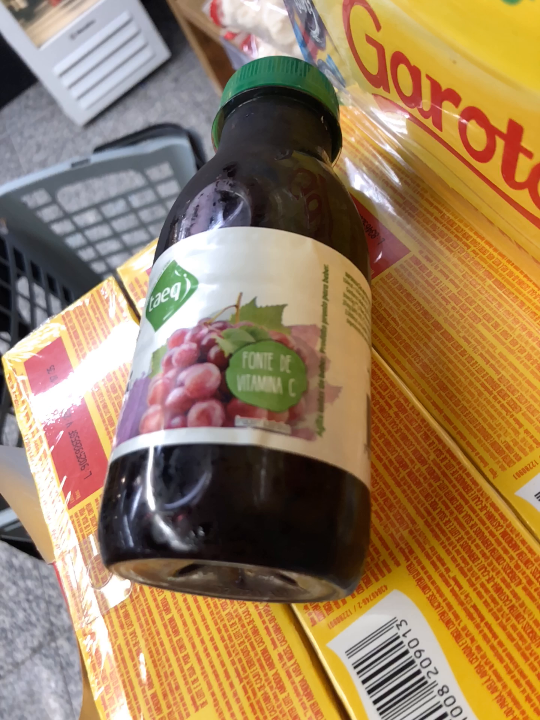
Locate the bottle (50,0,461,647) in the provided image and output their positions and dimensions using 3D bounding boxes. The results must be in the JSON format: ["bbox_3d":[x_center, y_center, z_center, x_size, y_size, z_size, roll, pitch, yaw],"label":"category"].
[{"bbox_3d":[0.008,-0.021,0.165,0.070,0.050,0.171,-7,58,22],"label":"bottle"}]
